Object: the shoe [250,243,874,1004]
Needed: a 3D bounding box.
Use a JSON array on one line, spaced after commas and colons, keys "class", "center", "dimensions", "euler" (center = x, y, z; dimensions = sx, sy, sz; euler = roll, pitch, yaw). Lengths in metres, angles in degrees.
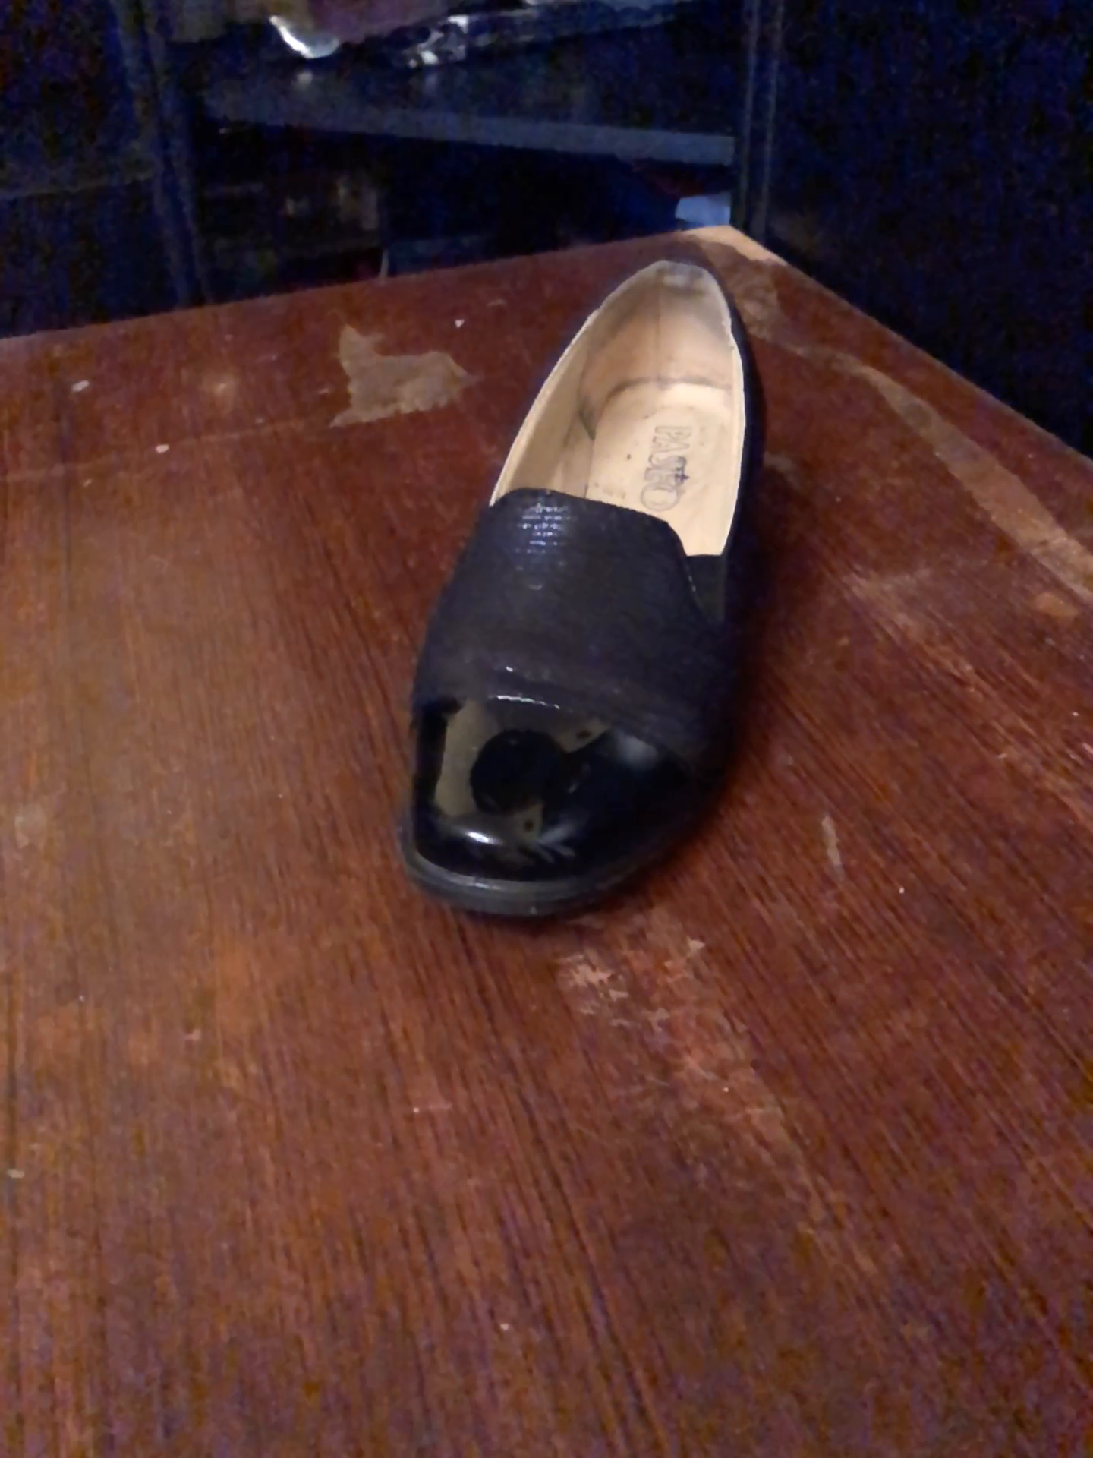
[{"class": "shoe", "center": [0.023, -0.051, 0.340], "dimensions": [0.090, 0.070, 0.237], "euler": [11, 46, 17]}]
